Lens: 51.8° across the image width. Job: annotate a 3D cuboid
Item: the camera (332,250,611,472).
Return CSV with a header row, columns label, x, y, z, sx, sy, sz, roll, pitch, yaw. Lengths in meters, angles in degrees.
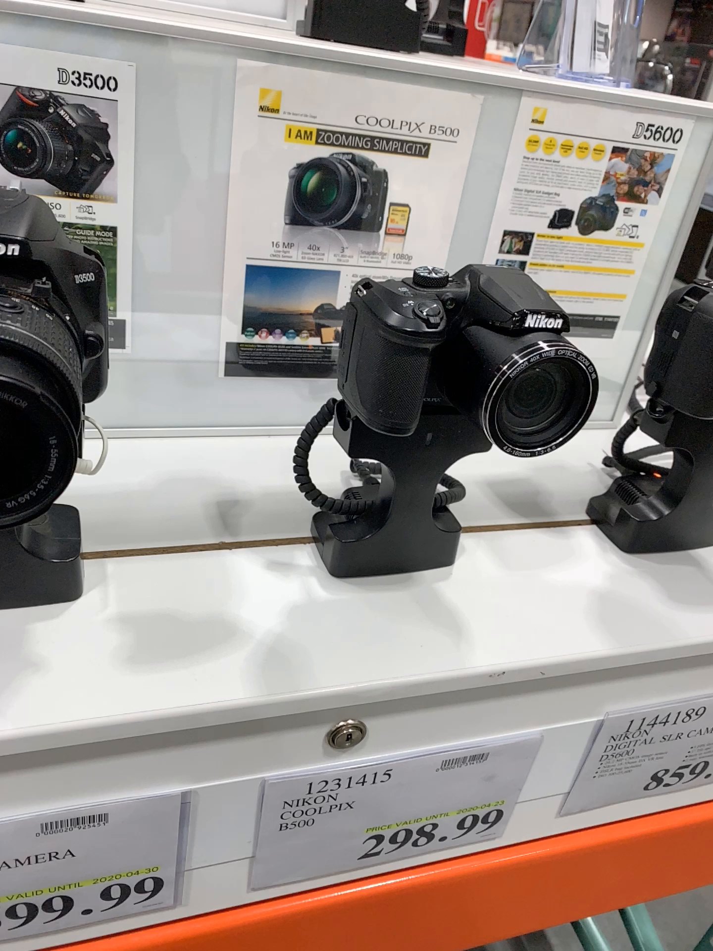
label,x,y,z,sx,sy,sz,roll,pitch,yaw
camera,0.055,-0.062,0.389,0.110,0.089,0.070,-4,33,-21
